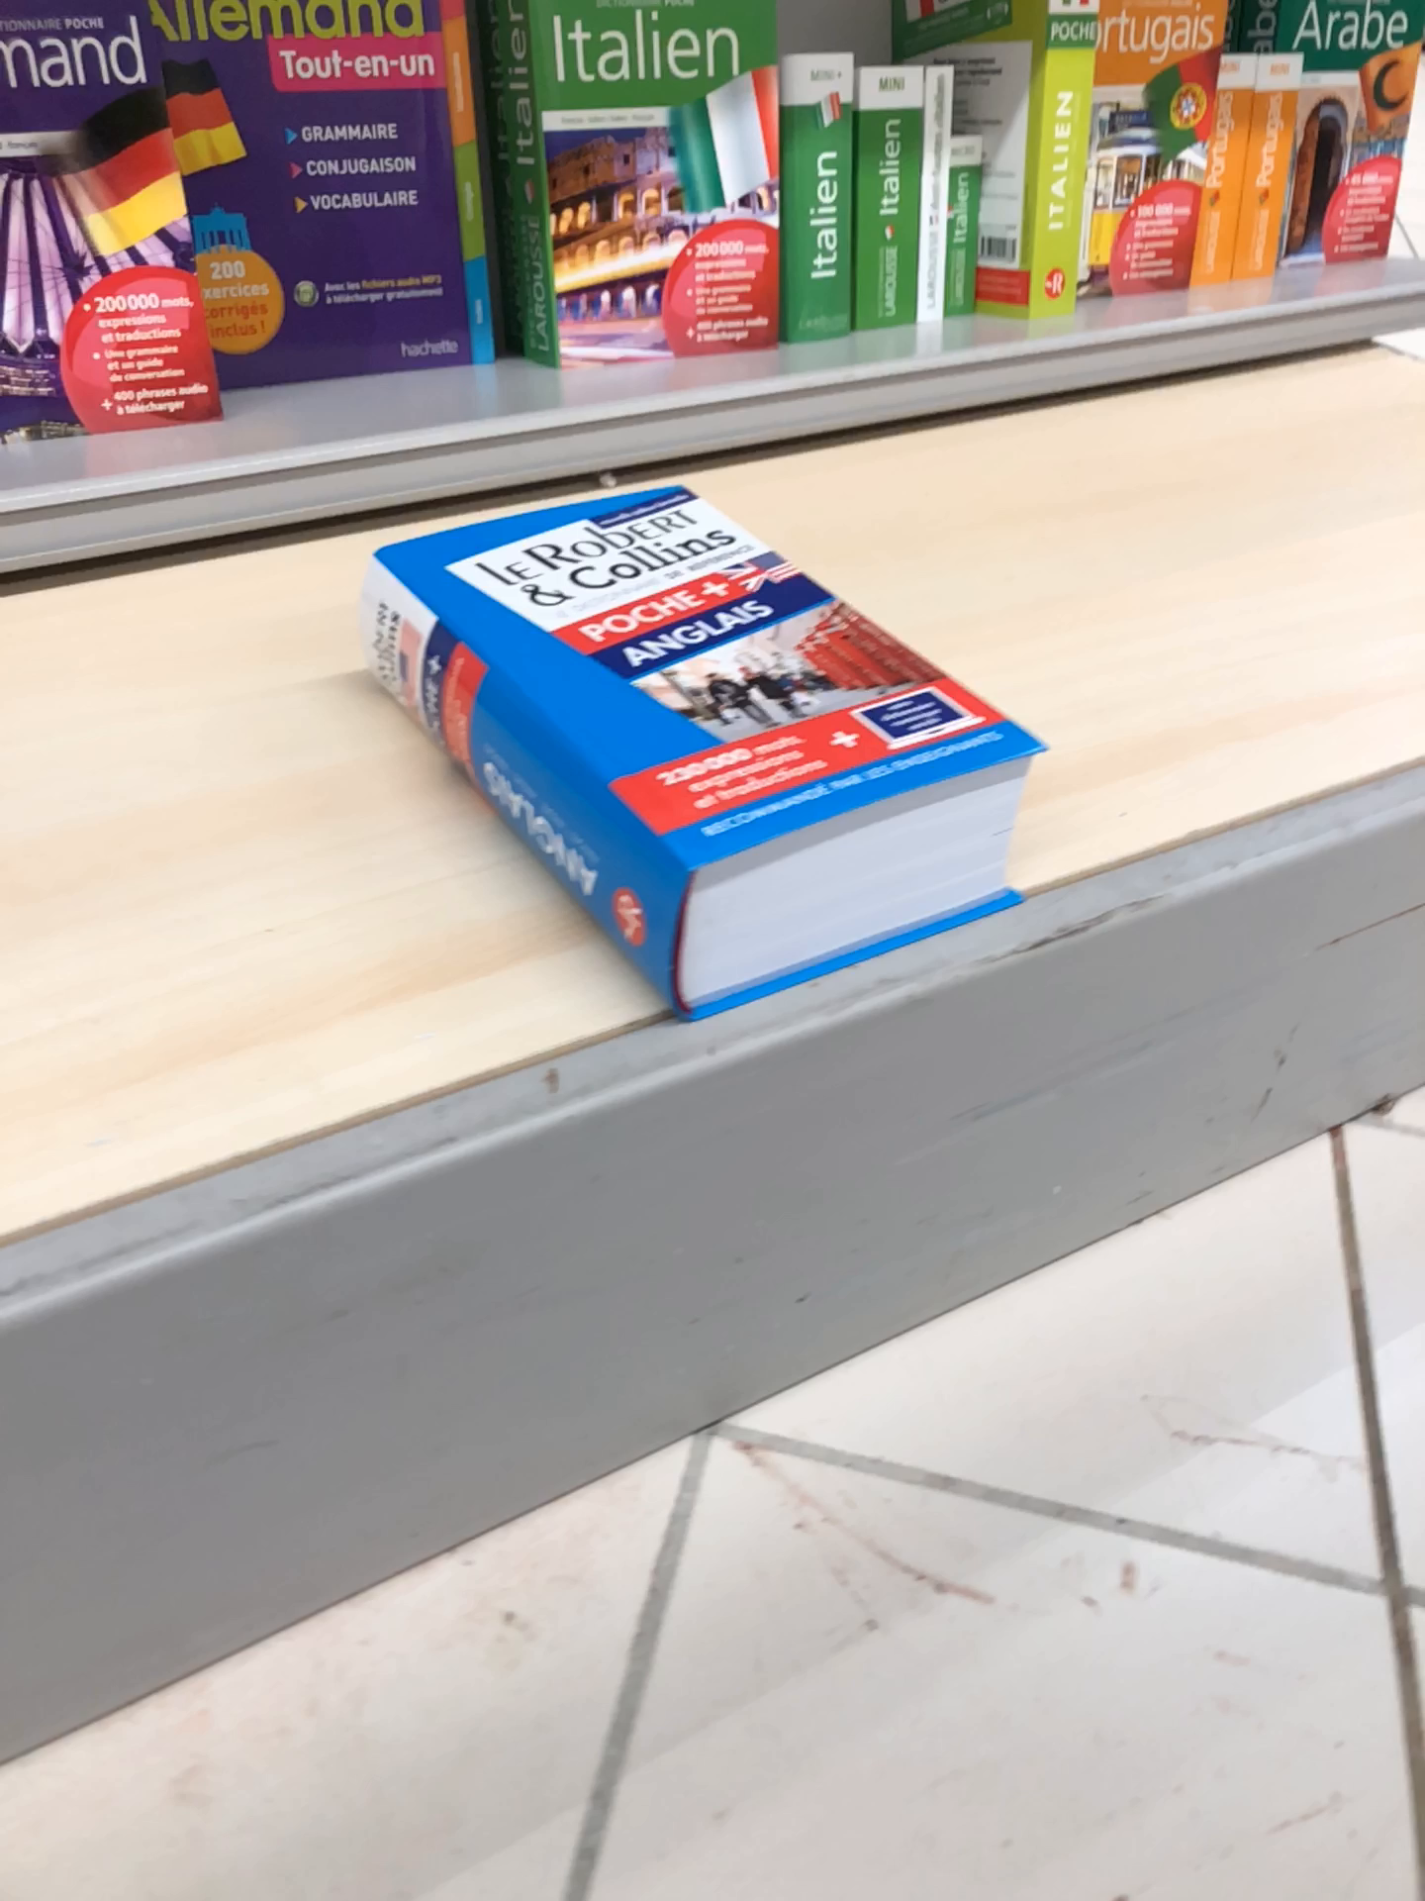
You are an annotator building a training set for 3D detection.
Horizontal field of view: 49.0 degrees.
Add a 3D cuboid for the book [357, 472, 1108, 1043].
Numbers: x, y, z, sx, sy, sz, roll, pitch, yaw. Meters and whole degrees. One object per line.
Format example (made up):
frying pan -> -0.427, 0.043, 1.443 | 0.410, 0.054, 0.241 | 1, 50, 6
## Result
book -> -0.003, -0.068, 0.448 | 0.129, 0.050, 0.184 | -20, 45, -27
